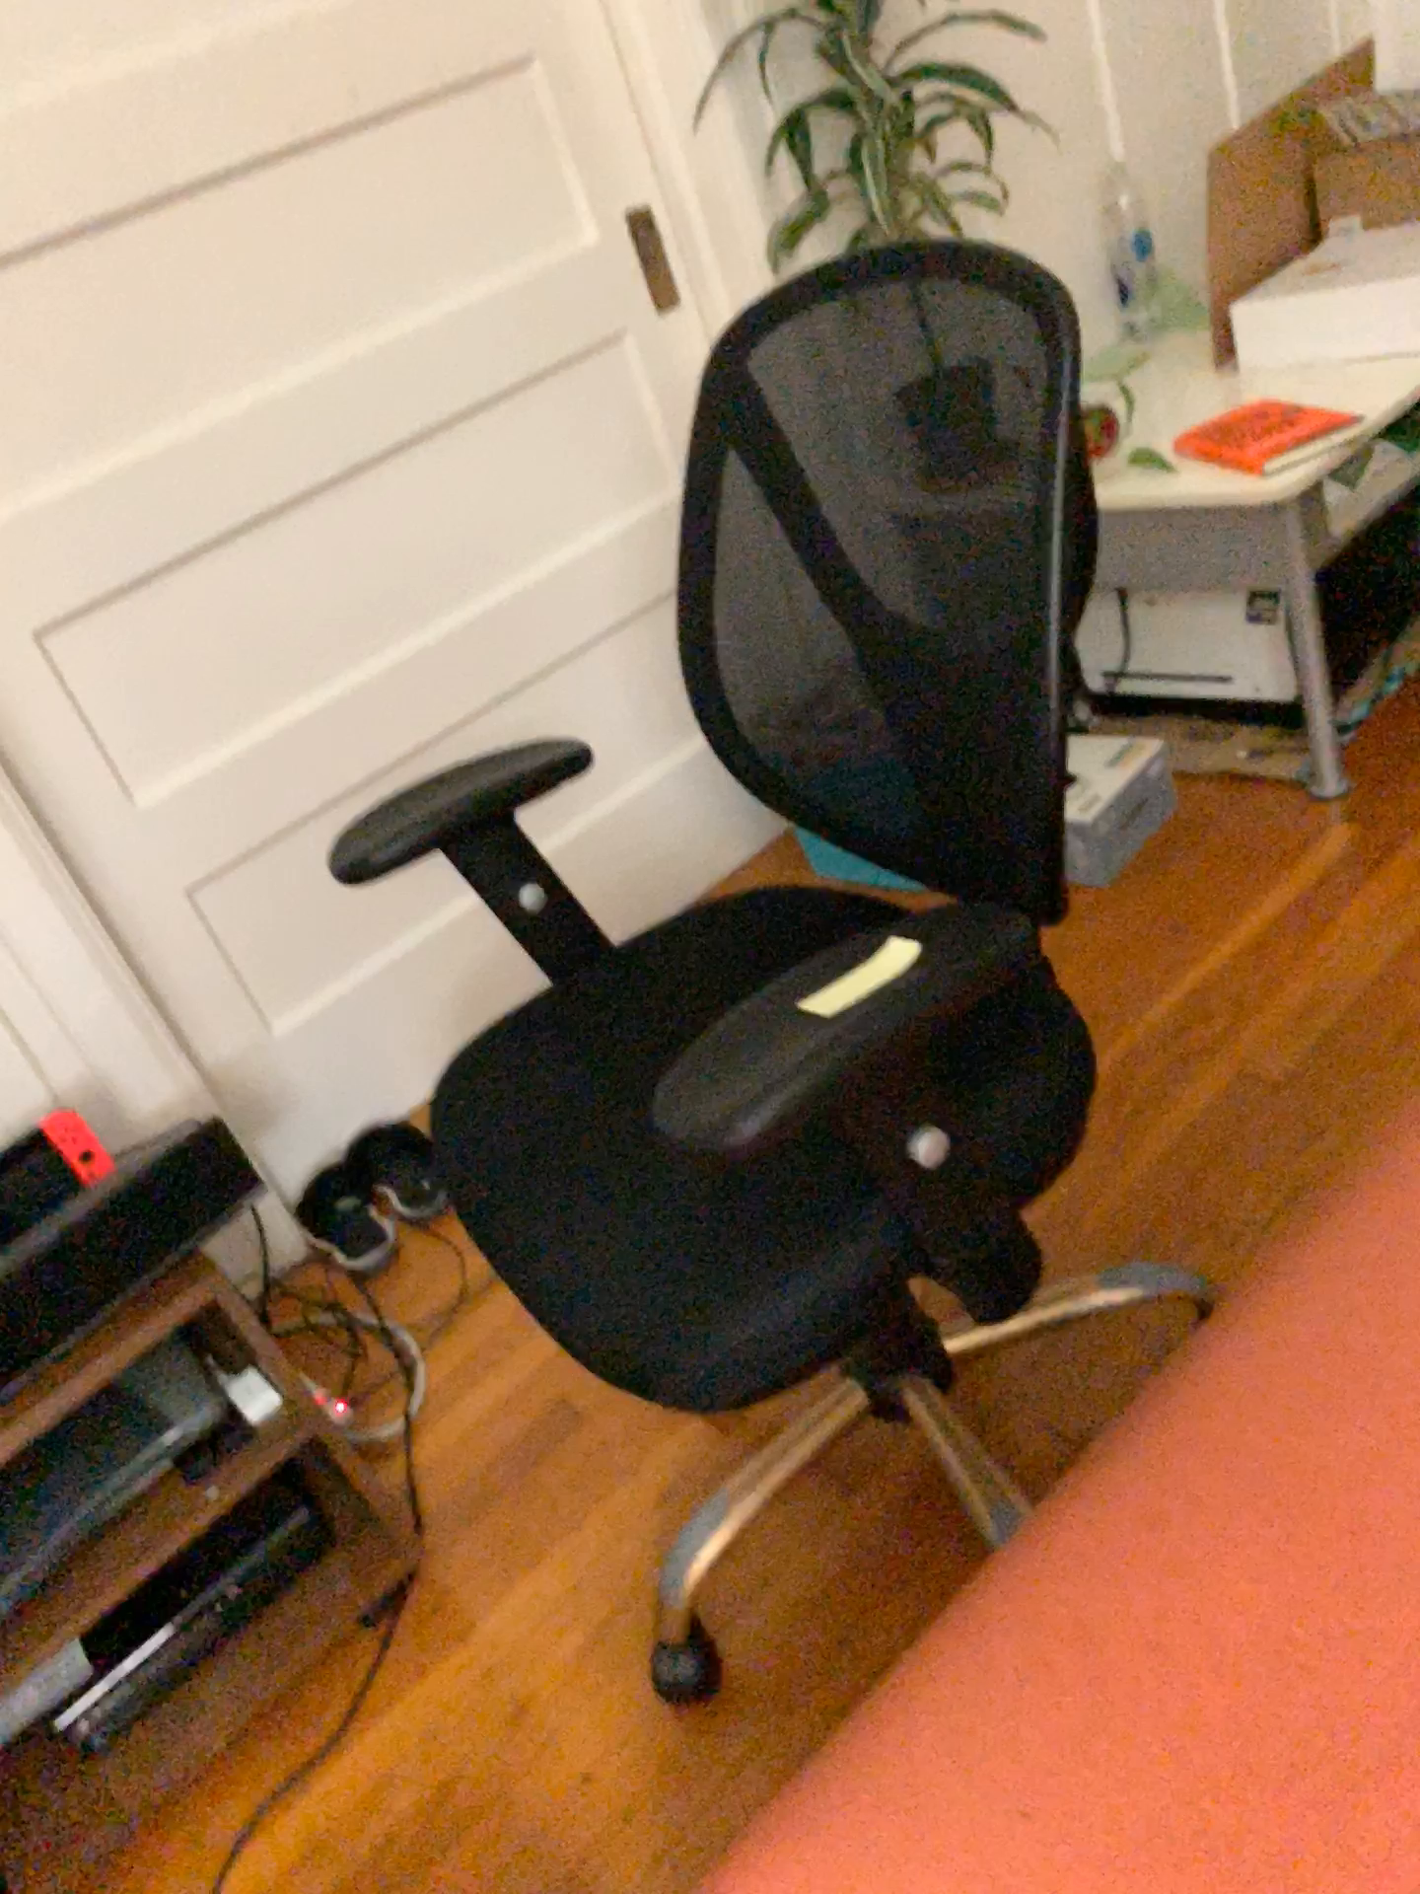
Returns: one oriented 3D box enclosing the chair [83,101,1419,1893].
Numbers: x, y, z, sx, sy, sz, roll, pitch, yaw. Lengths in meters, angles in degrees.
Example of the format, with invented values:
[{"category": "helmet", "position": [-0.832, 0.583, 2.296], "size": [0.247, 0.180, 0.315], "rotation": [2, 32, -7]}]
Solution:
[{"category": "chair", "position": [0.092, 0.014, 1.150], "size": [0.660, 0.974, 0.644], "rotation": [-27, 30, -19]}]
